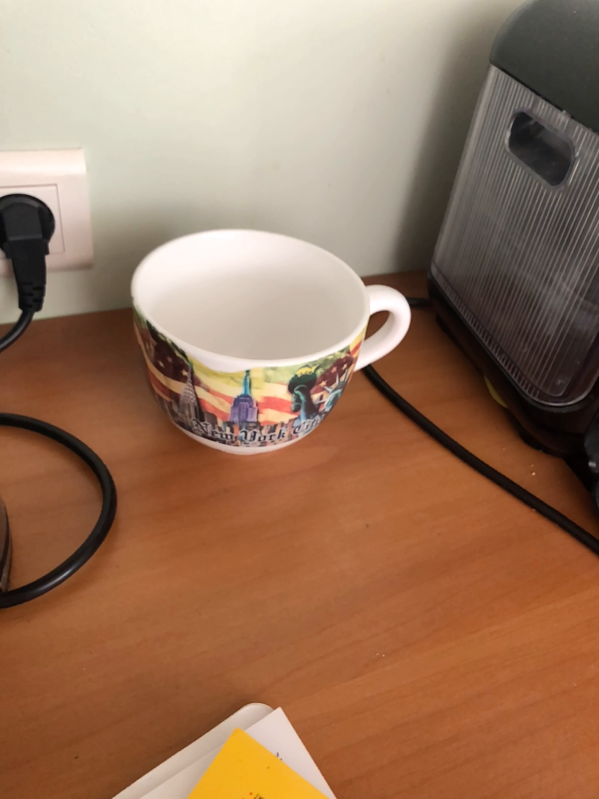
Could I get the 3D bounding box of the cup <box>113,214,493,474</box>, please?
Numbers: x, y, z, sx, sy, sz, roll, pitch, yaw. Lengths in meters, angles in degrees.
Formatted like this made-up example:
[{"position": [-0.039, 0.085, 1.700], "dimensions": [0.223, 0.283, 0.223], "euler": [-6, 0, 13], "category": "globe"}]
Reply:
[{"position": [-0.007, -0.039, 0.369], "dimensions": [0.170, 0.070, 0.120], "euler": [-7, 44, -18], "category": "cup"}]
